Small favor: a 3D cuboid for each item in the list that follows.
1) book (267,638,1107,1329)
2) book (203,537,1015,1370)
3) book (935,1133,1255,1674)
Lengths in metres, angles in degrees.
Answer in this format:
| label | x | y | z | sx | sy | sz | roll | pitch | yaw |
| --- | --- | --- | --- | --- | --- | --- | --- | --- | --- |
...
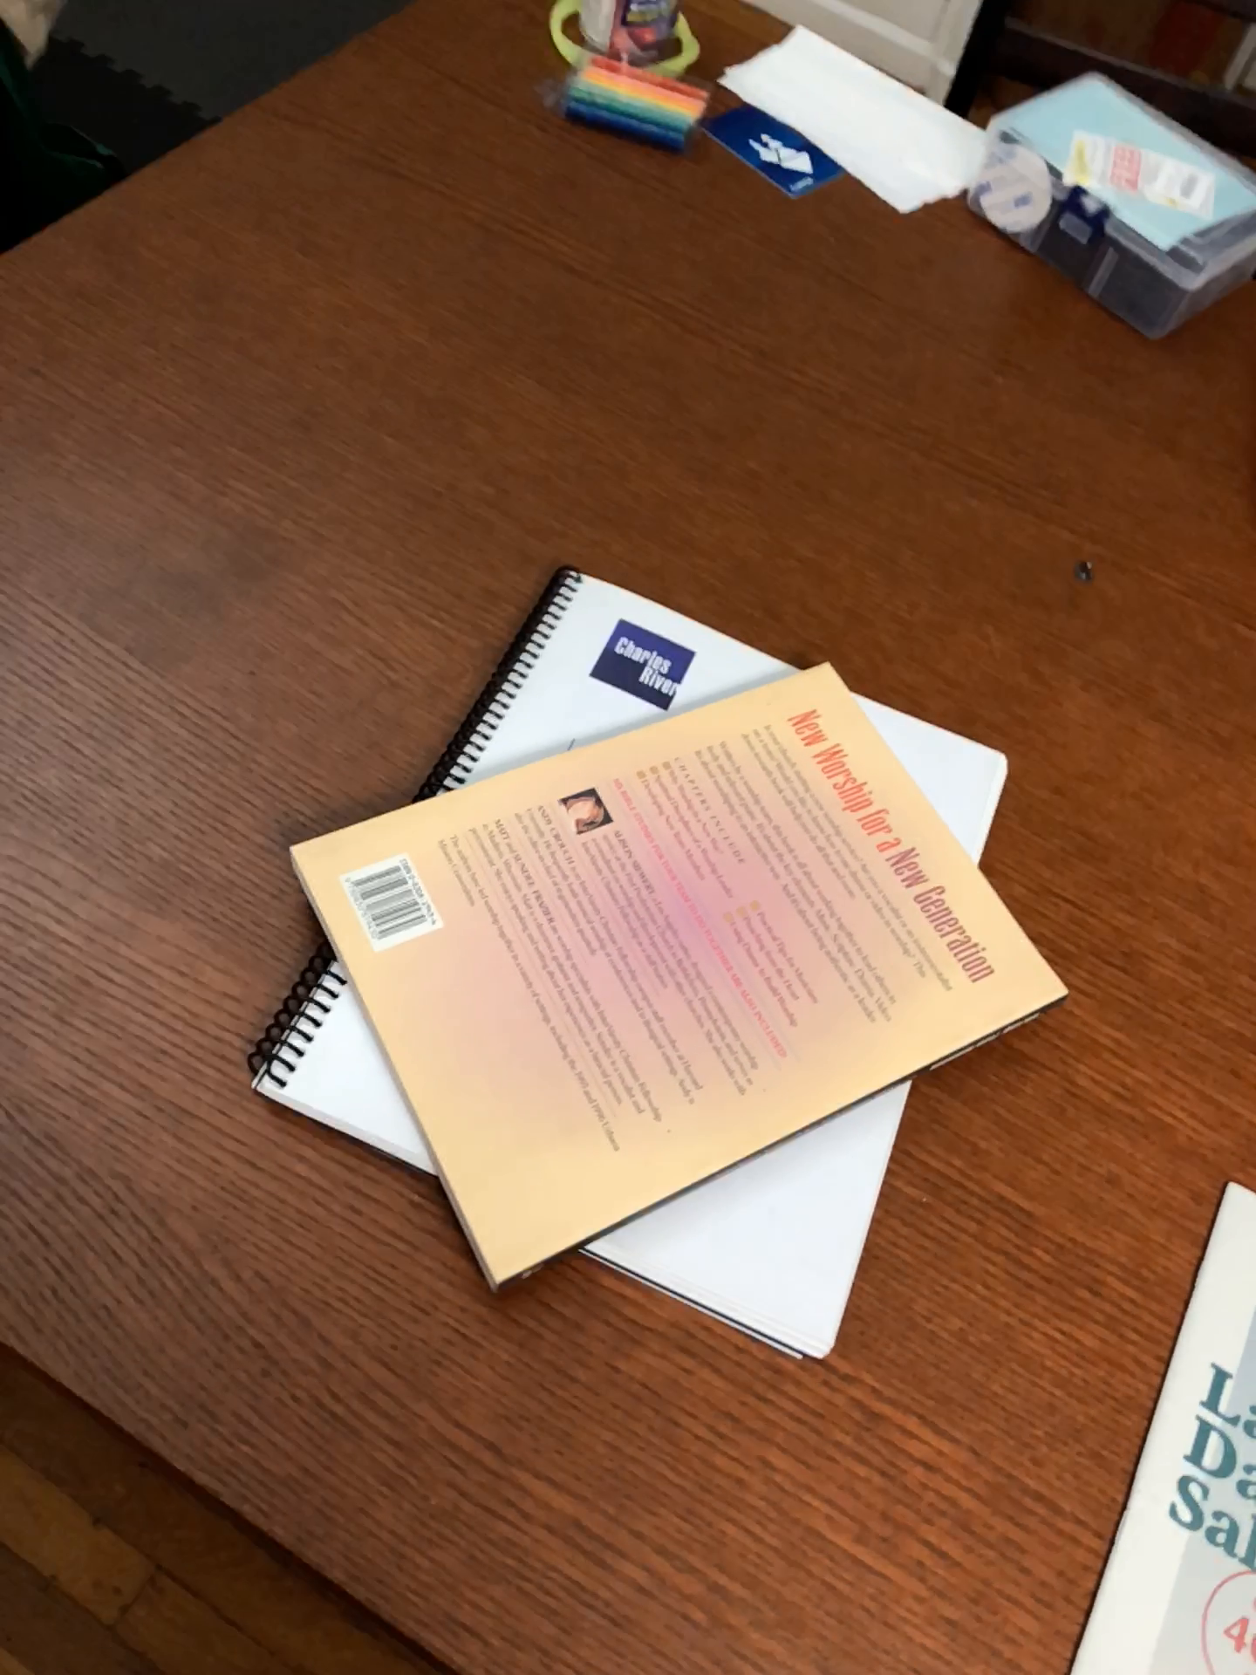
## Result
| label | x | y | z | sx | sy | sz | roll | pitch | yaw |
| --- | --- | --- | --- | --- | --- | --- | --- | --- | --- |
| book | 0.024 | 0.035 | 0.525 | 0.261 | 0.020 | 0.190 | -21 | 64 | -23 |
| book | 0.012 | 0.022 | 0.552 | 0.230 | 0.020 | 0.291 | 23 | 56 | 4 |
| book | 0.238 | 0.256 | 0.436 | 0.200 | 0.010 | 0.271 | 30 | 57 | 9 |
